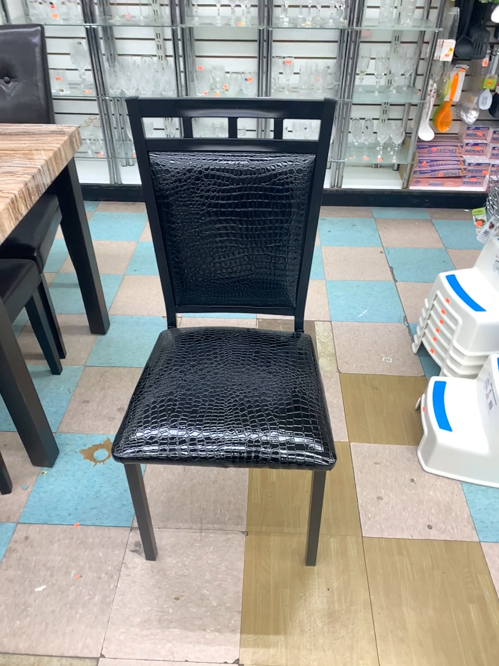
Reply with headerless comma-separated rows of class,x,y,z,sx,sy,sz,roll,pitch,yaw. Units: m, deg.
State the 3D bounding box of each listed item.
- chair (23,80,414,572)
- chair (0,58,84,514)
chair,-0.027,0.036,1.091,0.461,0.943,0.507,2,40,2
chair,-0.842,-0.082,1.228,0.531,0.923,0.597,0,40,0
